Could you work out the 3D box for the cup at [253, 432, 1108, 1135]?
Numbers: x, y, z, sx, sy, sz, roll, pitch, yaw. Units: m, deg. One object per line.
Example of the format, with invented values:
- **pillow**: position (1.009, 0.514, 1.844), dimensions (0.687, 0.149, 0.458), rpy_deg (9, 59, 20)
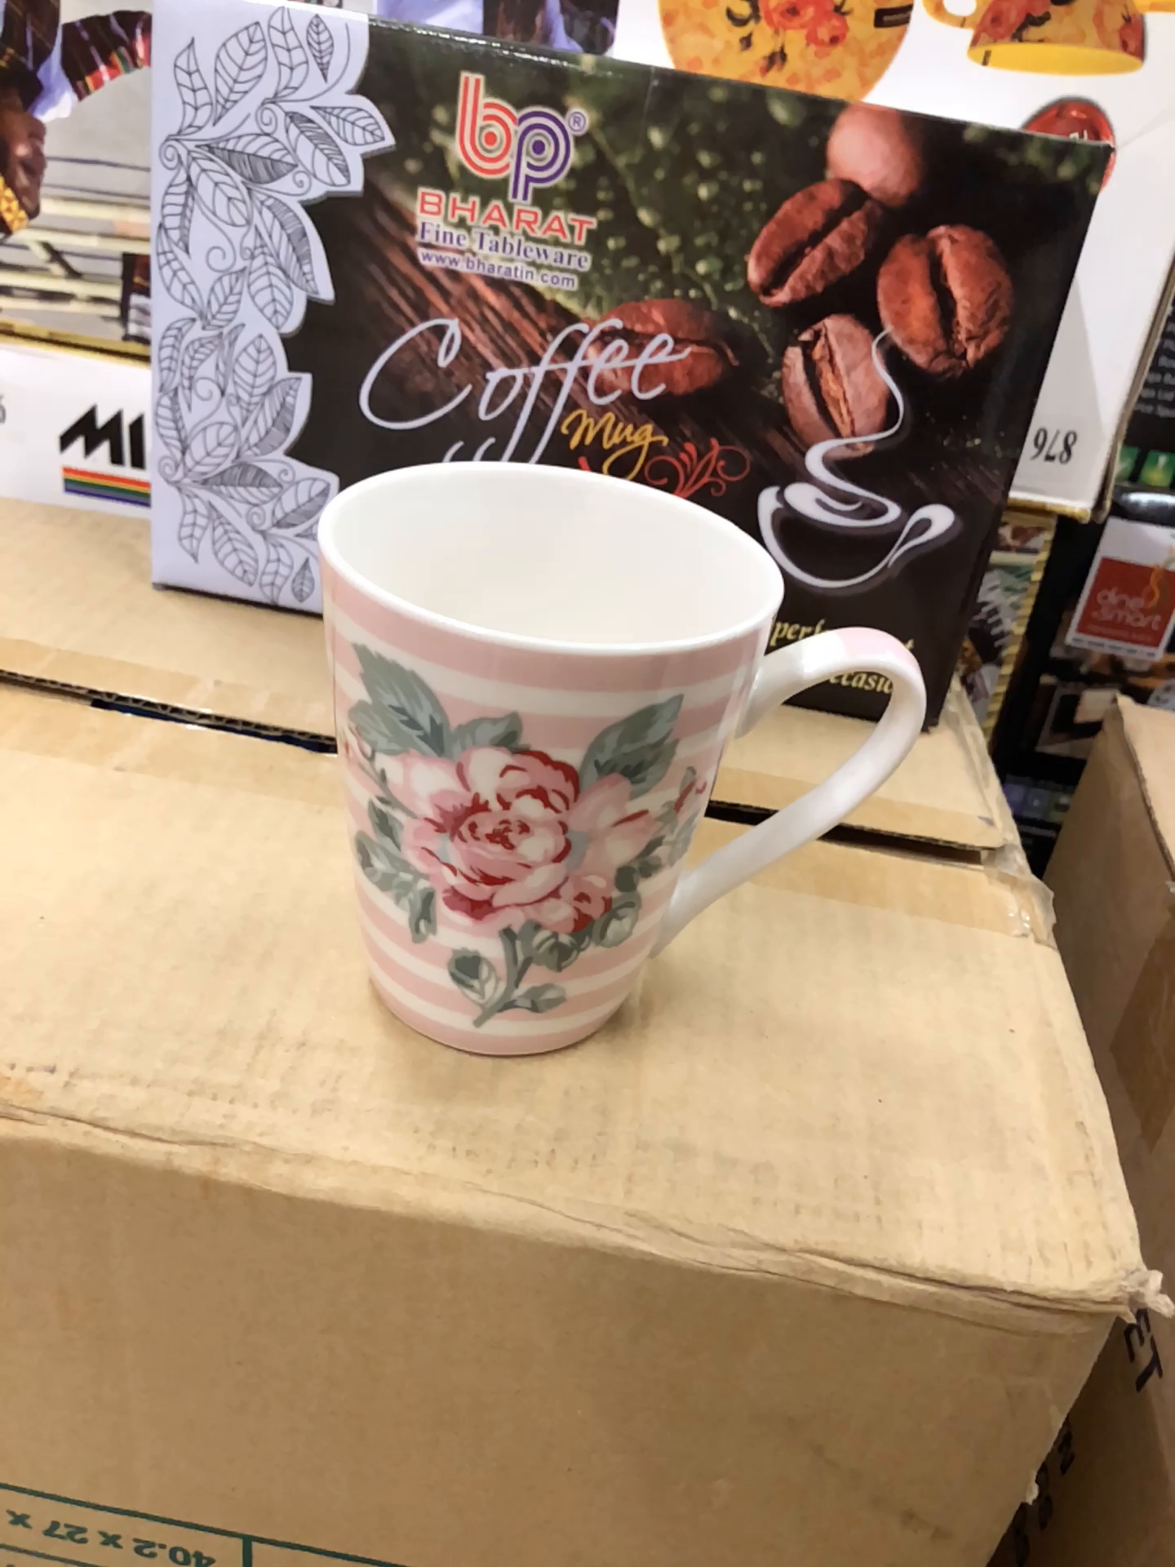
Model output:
- **cup**: position (0.010, -0.003, 0.259), dimensions (0.130, 0.089, 0.091), rpy_deg (7, 31, -4)
